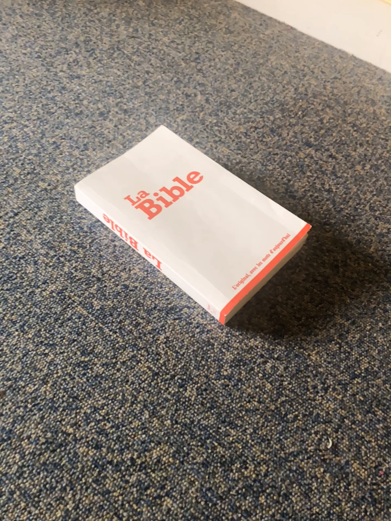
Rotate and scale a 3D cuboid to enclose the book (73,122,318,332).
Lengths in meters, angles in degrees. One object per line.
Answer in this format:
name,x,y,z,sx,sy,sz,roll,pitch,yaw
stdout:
book,-0.003,-0.046,0.448,0.211,0.042,0.134,39,61,19
